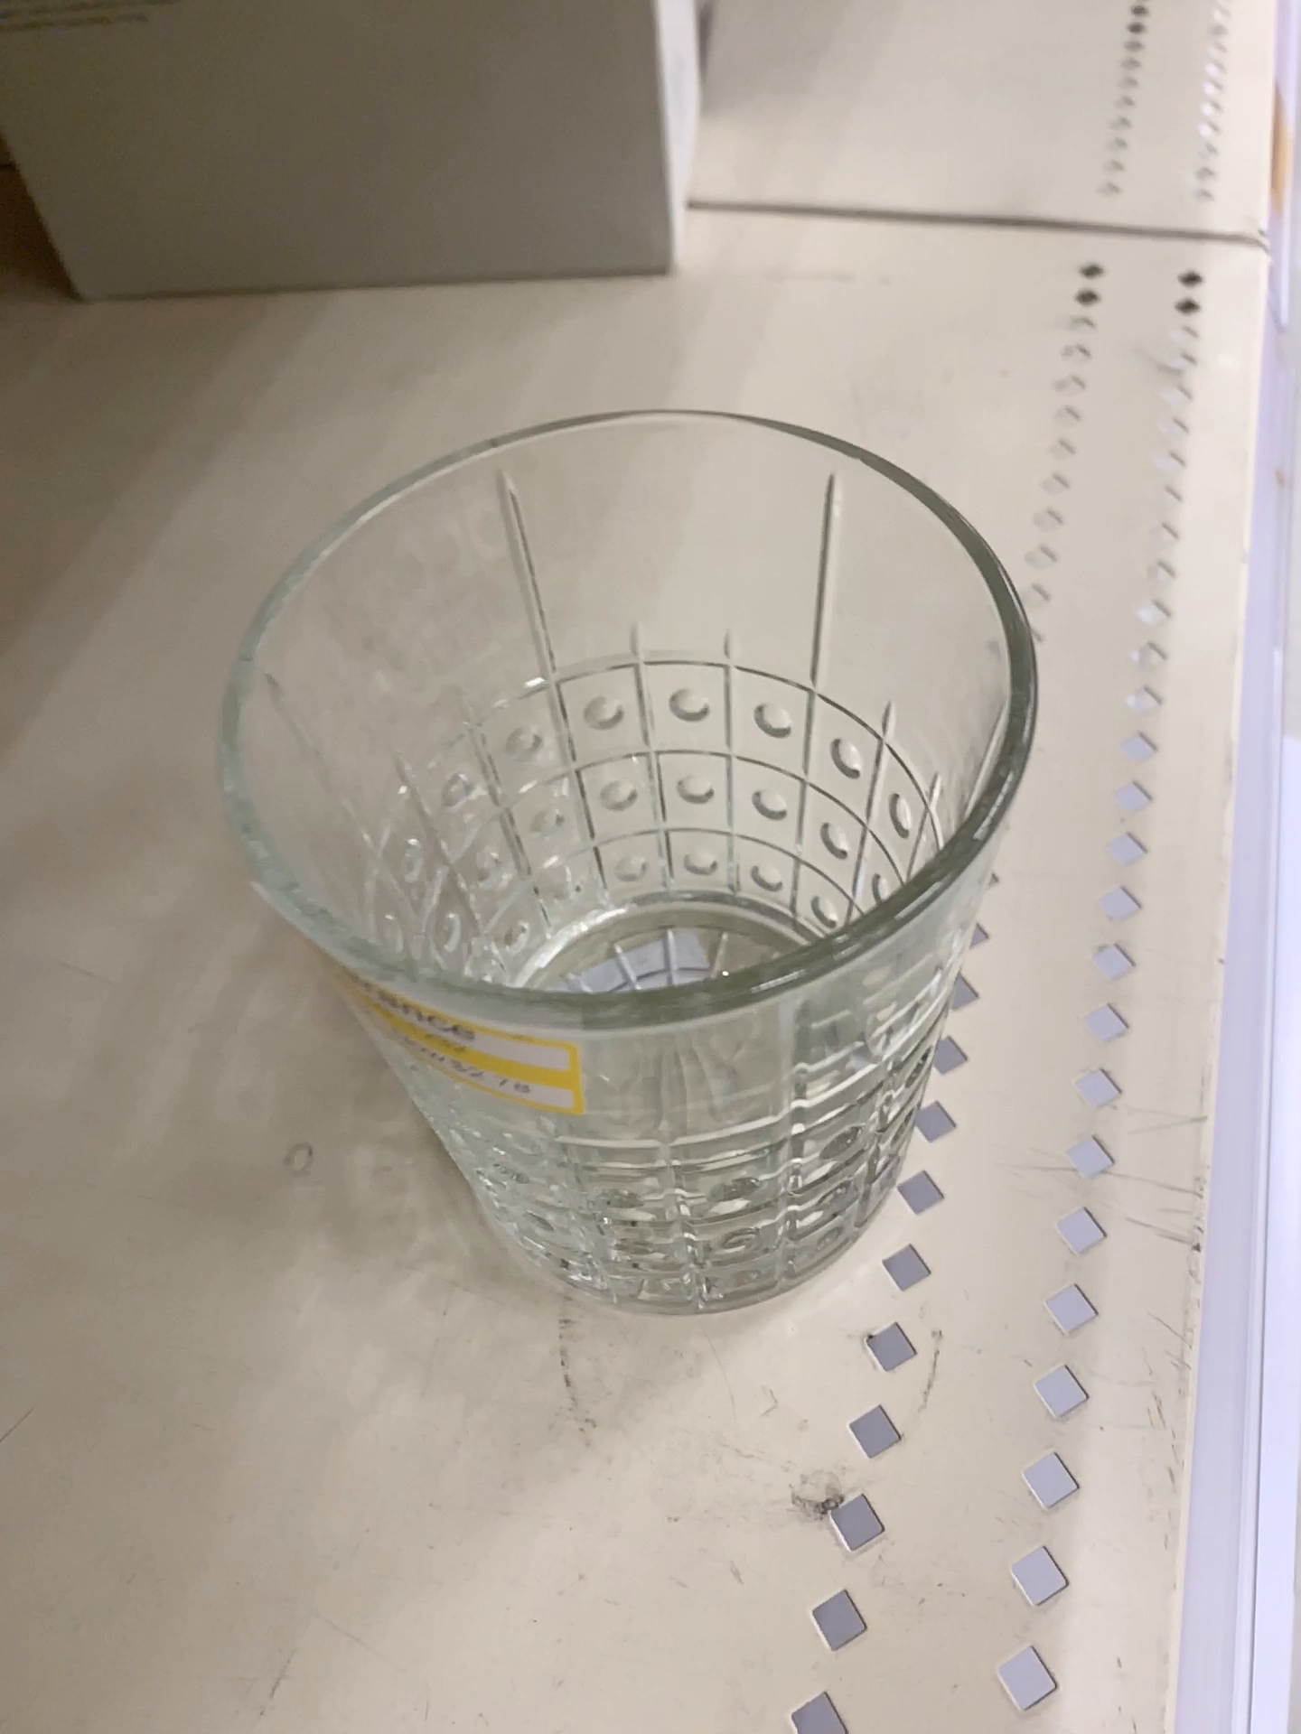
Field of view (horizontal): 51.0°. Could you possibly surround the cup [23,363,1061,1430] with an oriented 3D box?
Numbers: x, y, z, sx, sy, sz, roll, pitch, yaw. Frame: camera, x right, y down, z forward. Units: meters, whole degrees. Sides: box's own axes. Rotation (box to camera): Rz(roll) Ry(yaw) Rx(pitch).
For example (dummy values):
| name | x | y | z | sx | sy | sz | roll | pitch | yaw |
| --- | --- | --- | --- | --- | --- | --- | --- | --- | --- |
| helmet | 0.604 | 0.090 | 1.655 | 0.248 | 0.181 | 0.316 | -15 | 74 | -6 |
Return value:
| name | x | y | z | sx | sy | sz | roll | pitch | yaw |
| --- | --- | --- | --- | --- | --- | --- | --- | --- | --- |
| cup | -0.003 | 0.008 | 0.195 | 0.090 | 0.110 | 0.090 | -2 | 54 | 3 |
